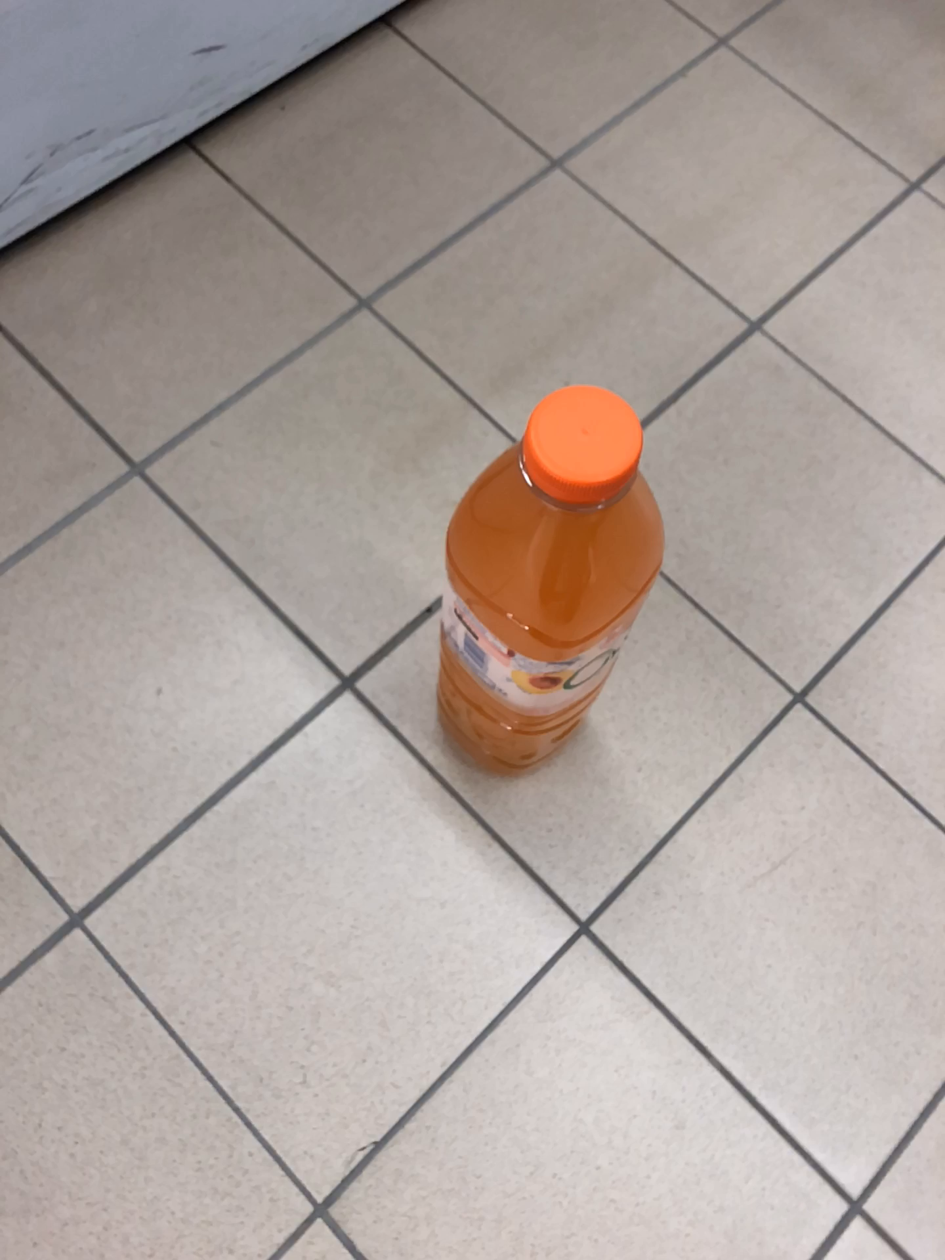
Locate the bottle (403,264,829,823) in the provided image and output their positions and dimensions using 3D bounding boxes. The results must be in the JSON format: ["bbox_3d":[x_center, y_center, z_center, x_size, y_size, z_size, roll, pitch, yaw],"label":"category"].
[{"bbox_3d":[0.040,-0.011,0.489,0.100,0.299,0.100,2,68,-4],"label":"bottle"}]
